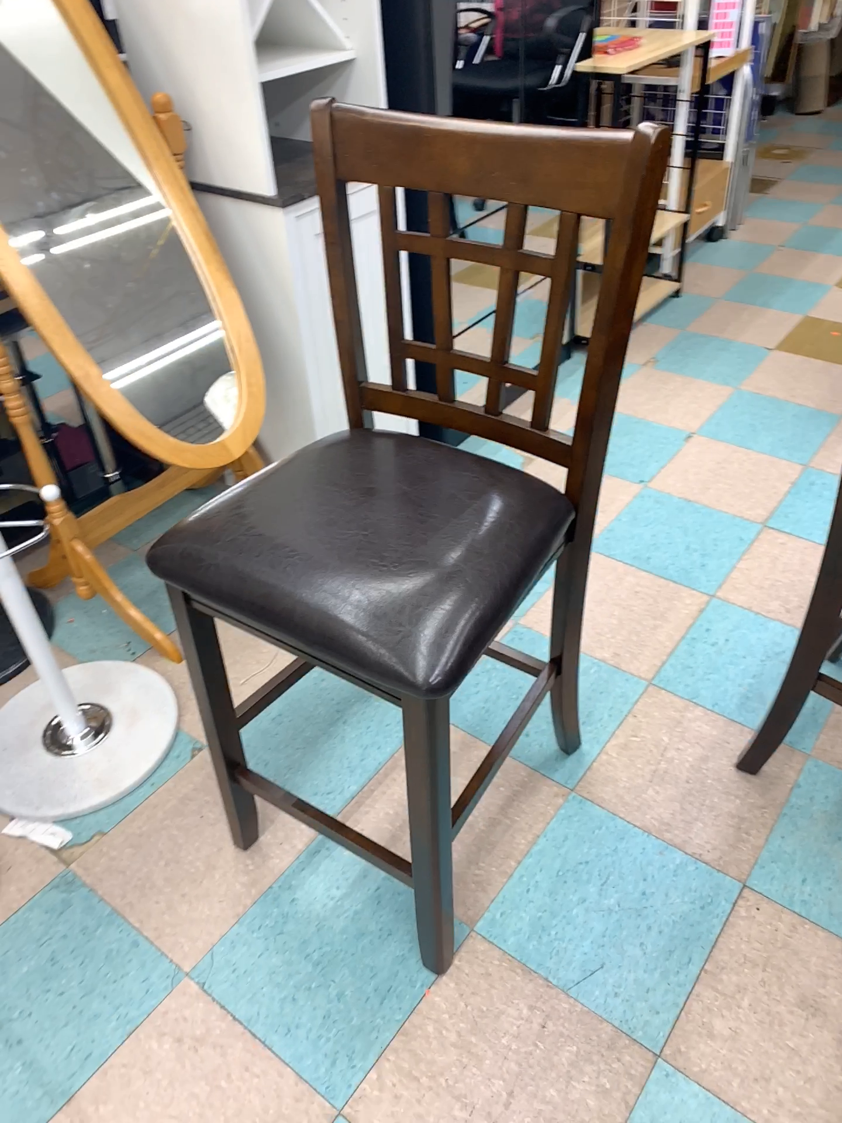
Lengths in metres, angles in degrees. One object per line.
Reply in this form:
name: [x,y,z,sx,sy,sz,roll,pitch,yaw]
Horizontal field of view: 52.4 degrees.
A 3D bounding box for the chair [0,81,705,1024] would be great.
chair: [-0.057,-0.006,0.974,0.469,0.849,0.482,22,46,29]
